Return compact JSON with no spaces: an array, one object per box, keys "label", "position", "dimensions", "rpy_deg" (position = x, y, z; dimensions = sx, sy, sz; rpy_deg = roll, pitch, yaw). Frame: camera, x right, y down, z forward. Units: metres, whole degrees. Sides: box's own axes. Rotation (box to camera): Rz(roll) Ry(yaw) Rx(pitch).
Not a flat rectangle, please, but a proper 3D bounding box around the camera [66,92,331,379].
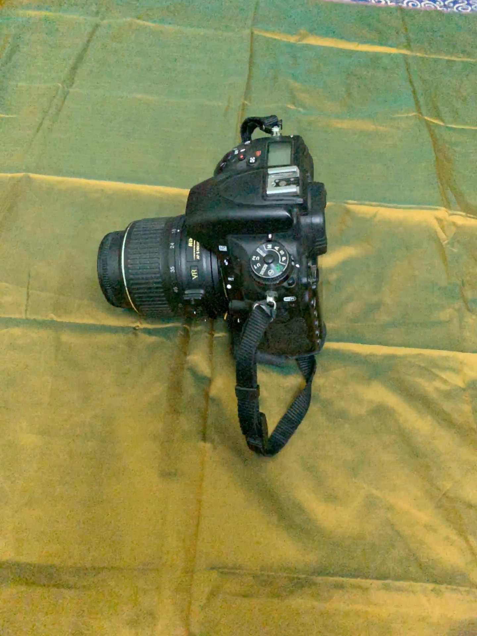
[{"label":"camera","position":[-0.010,-0.050,0.333],"dimensions":[0.131,0.120,0.135],"rpy_deg":[-4,54,12]}]
